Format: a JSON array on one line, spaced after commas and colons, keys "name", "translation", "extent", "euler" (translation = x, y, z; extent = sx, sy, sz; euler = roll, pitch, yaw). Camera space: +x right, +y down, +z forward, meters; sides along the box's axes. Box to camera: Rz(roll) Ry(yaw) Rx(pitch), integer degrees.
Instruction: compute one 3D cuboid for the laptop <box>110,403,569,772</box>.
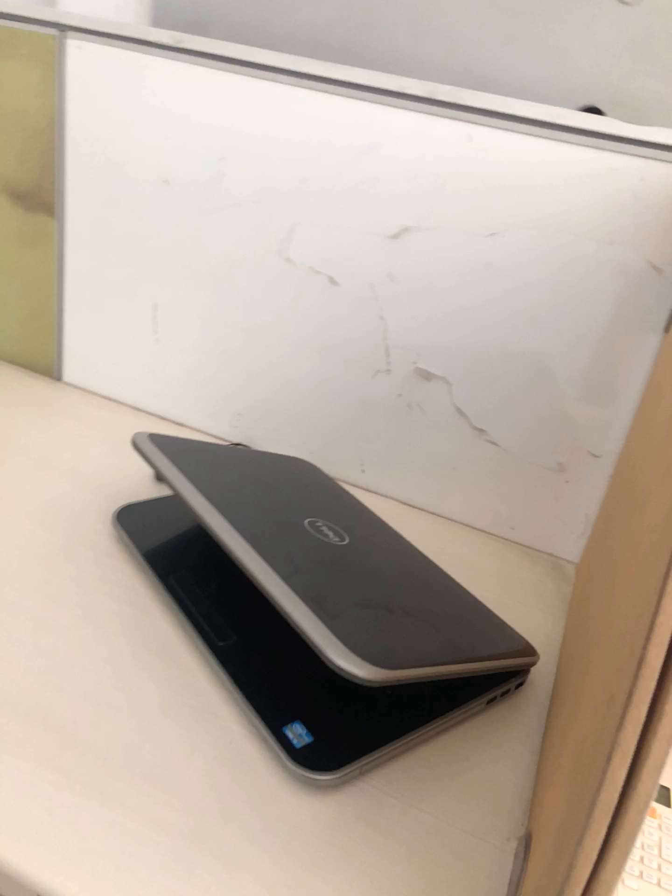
[{"name": "laptop", "translation": [-0.019, 0.083, 0.665], "extent": [0.238, 0.094, 0.358], "euler": [-8, 32, -37]}]
